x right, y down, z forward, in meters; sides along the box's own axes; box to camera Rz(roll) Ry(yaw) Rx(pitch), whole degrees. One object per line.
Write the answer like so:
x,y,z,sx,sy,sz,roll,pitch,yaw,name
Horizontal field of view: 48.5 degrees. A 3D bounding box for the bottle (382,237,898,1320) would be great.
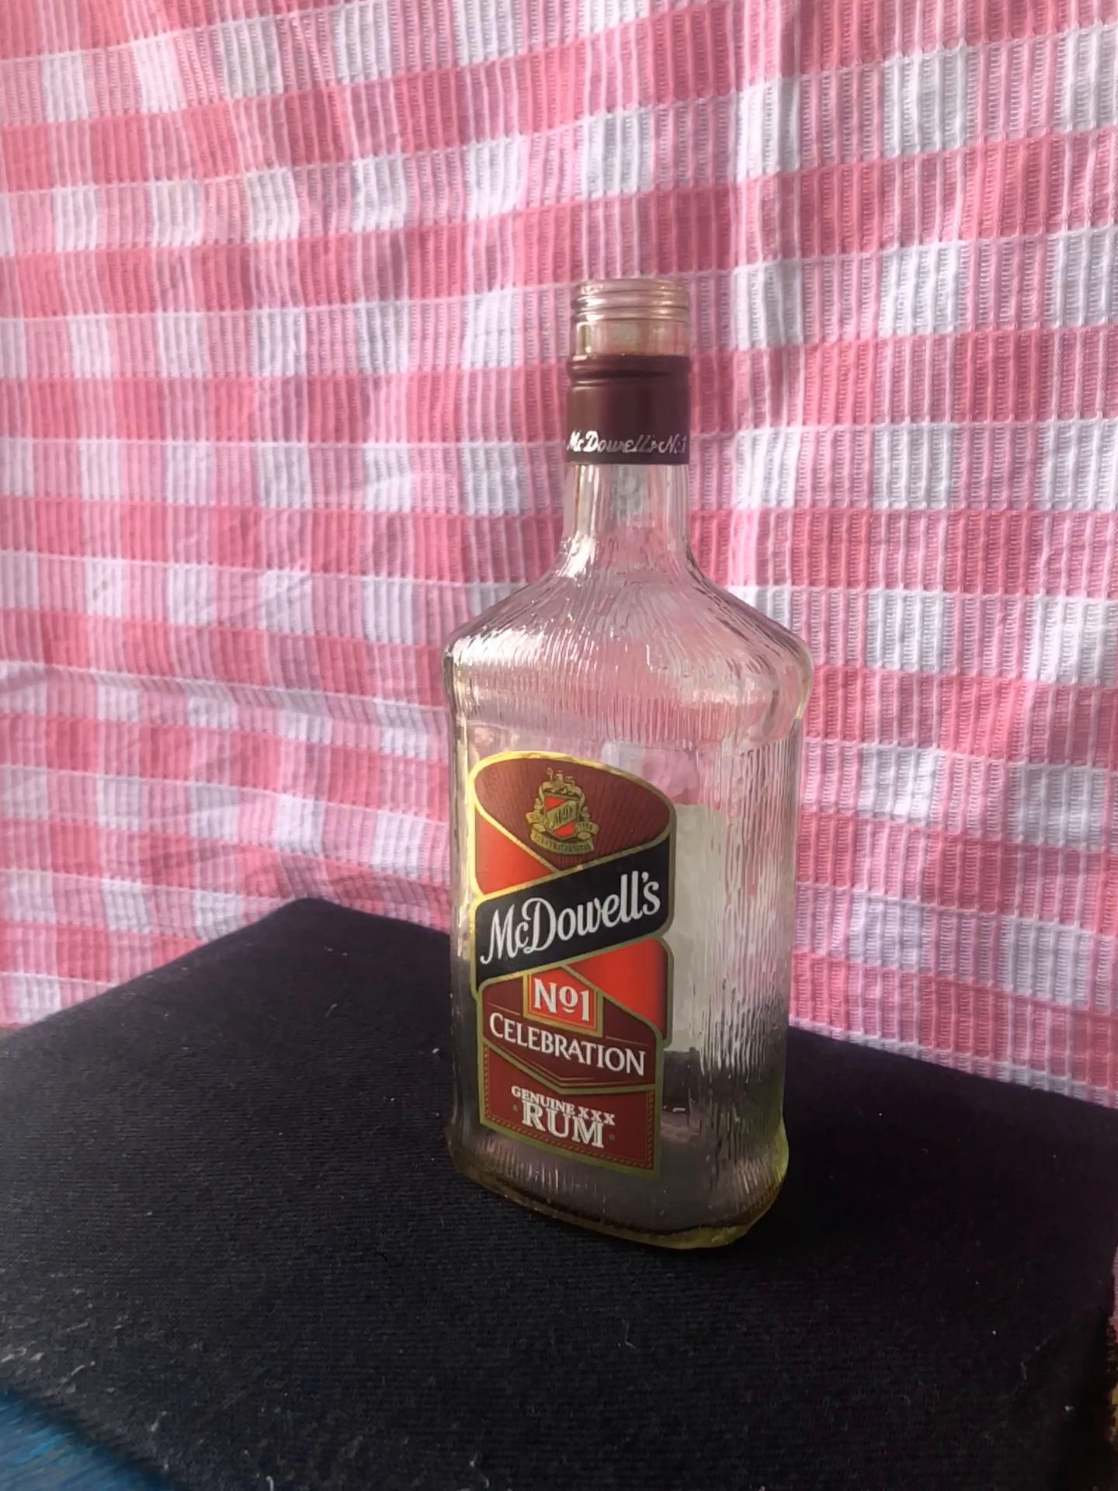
0.018,0.007,0.310,0.100,0.239,0.060,8,17,26,bottle
